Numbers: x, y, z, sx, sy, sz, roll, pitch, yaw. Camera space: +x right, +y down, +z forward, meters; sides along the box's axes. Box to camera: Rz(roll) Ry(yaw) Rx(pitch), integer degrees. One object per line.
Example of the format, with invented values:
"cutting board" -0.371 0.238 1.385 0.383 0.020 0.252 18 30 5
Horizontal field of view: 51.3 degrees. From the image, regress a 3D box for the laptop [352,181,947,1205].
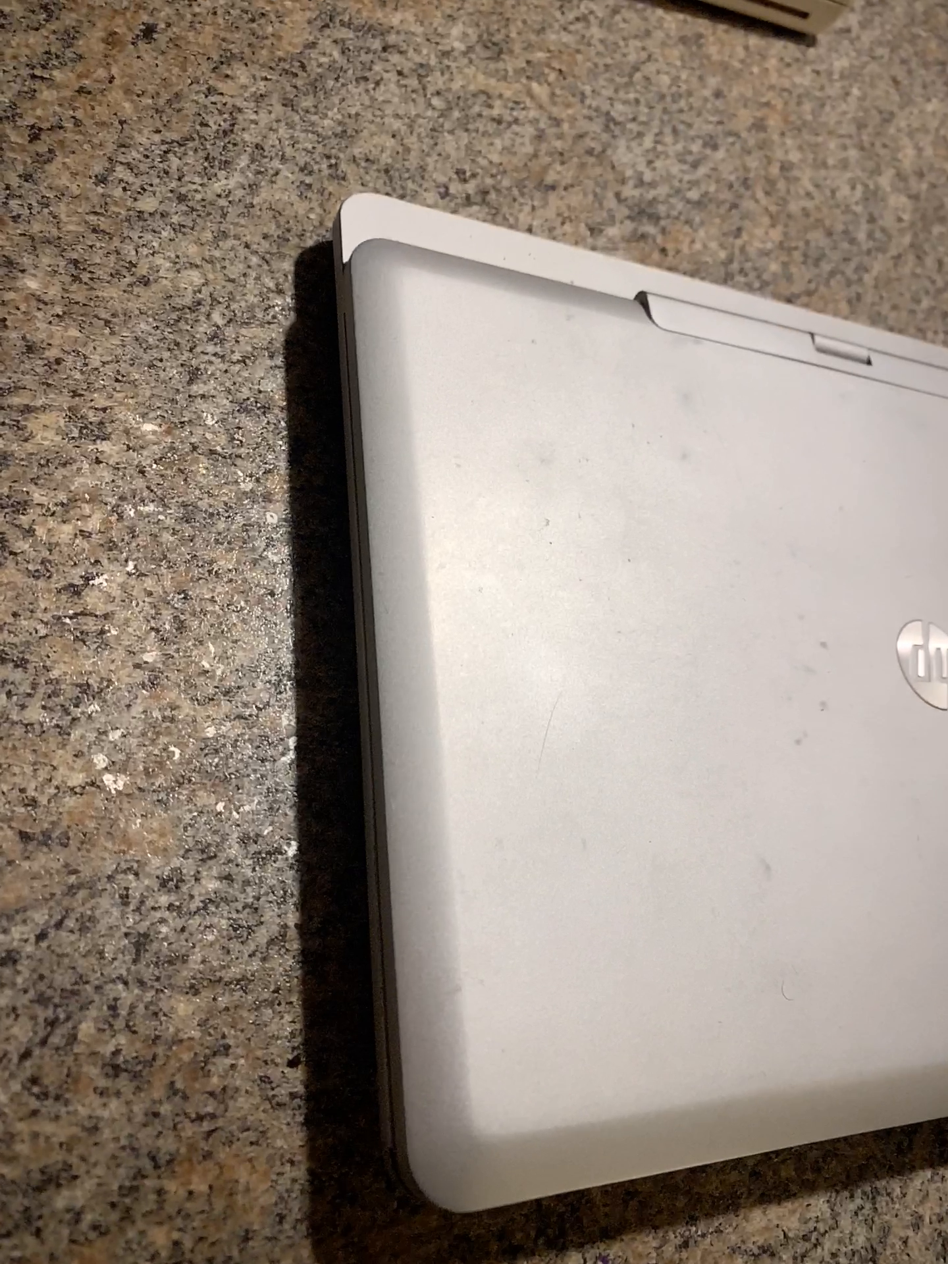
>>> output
"laptop" 0.106 0.002 0.234 0.268 0.005 0.194 5 65 -25
